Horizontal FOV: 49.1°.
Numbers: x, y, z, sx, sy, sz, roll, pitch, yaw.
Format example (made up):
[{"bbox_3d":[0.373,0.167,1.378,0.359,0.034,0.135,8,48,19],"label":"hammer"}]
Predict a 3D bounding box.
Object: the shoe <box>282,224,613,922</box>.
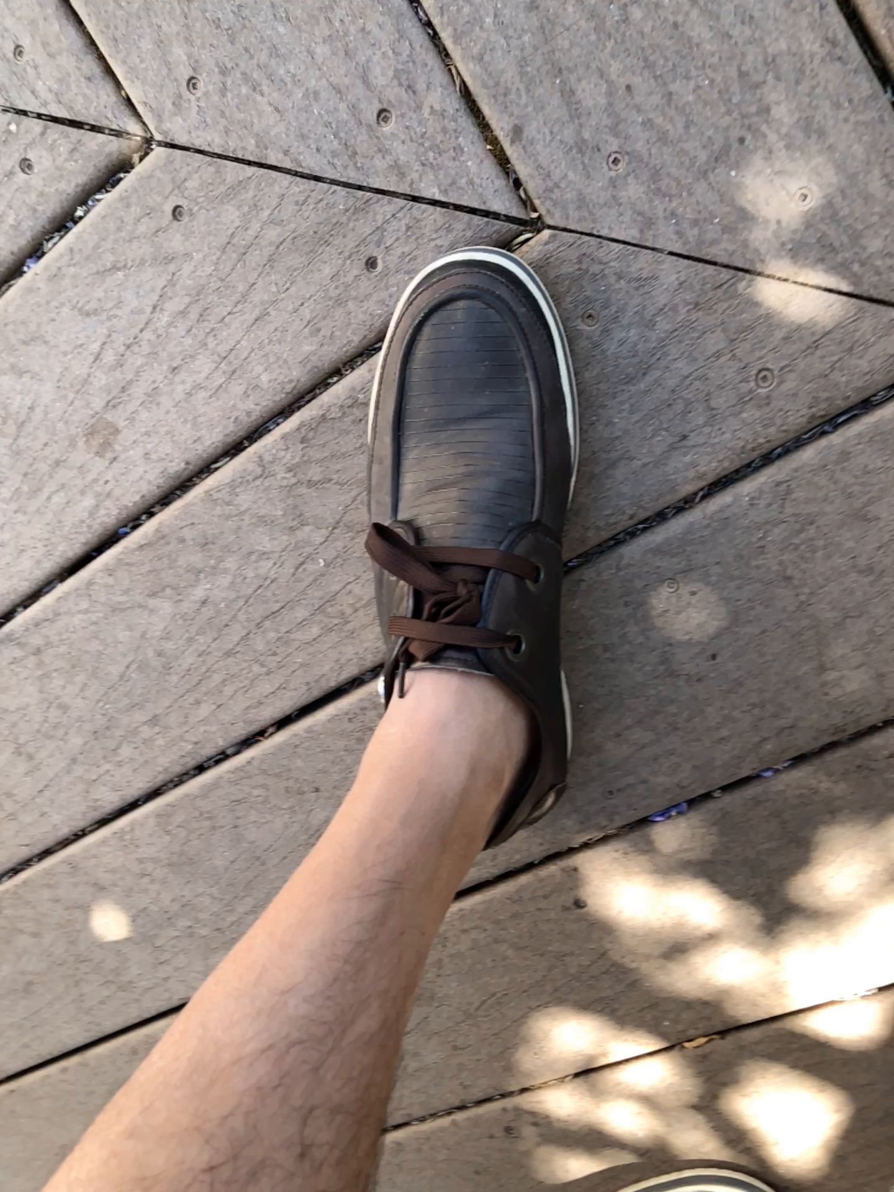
[{"bbox_3d":[0.015,-0.009,0.456,0.110,0.110,0.296,-1,109,12],"label":"shoe"}]
